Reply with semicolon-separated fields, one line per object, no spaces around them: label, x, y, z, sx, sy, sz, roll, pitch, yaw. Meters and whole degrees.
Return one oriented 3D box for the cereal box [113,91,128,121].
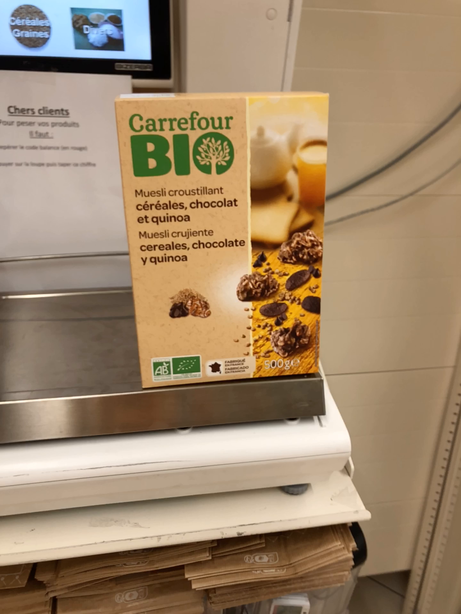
cereal box;-4.024;-7.395;18.783;0.460;0.975;0.532;-2;24;-8
